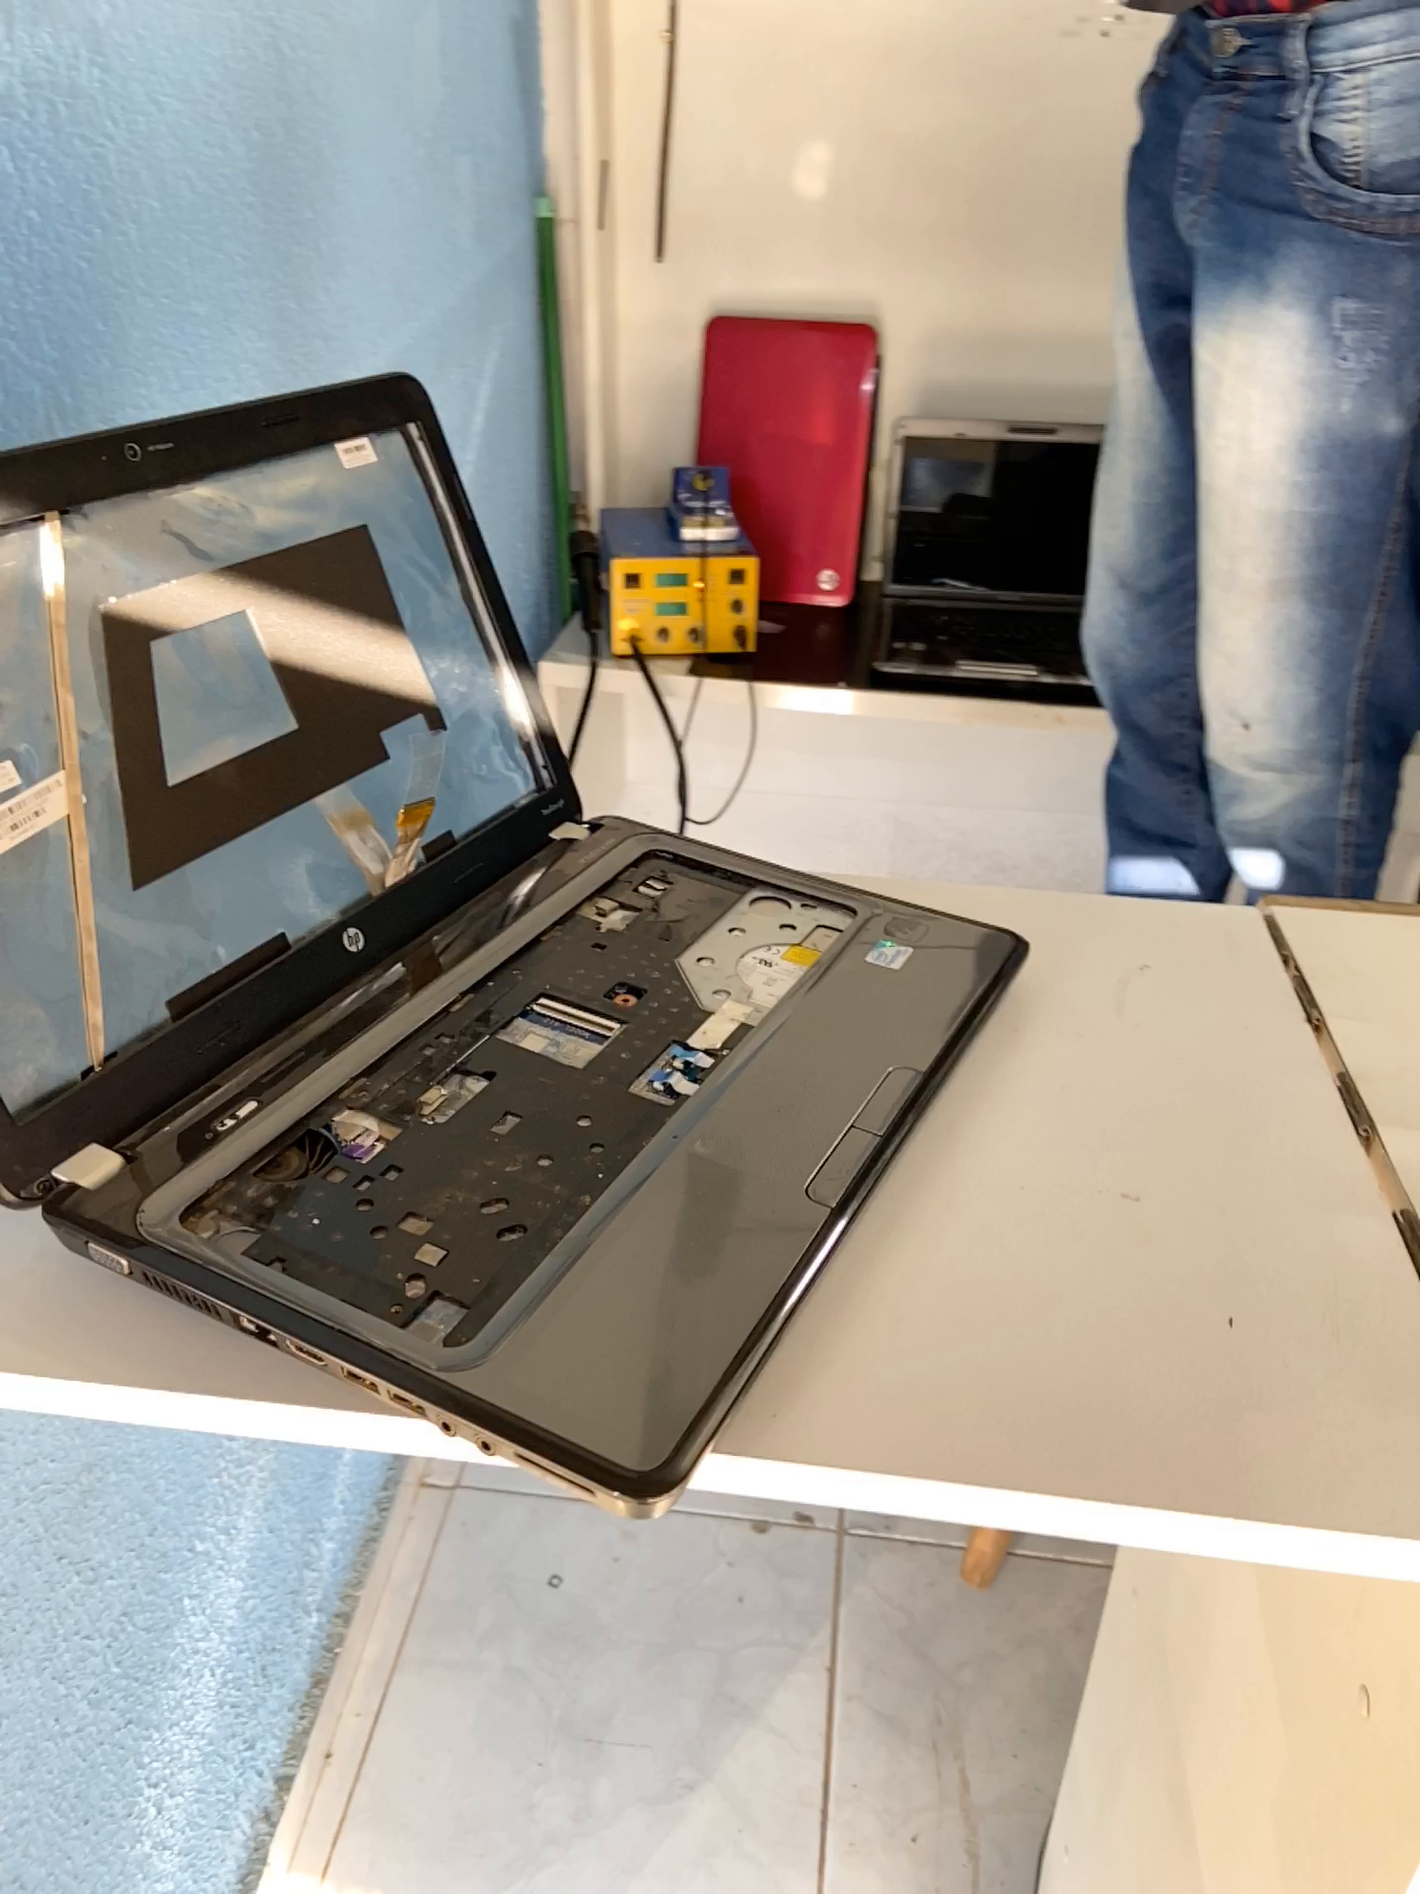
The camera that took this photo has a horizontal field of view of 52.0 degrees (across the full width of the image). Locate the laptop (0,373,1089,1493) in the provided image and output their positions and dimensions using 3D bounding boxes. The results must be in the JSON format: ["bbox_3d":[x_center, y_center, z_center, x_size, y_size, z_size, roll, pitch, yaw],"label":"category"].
[{"bbox_3d":[-0.080,-0.061,0.525,0.323,0.194,0.337,17,33,23],"label":"laptop"}]
